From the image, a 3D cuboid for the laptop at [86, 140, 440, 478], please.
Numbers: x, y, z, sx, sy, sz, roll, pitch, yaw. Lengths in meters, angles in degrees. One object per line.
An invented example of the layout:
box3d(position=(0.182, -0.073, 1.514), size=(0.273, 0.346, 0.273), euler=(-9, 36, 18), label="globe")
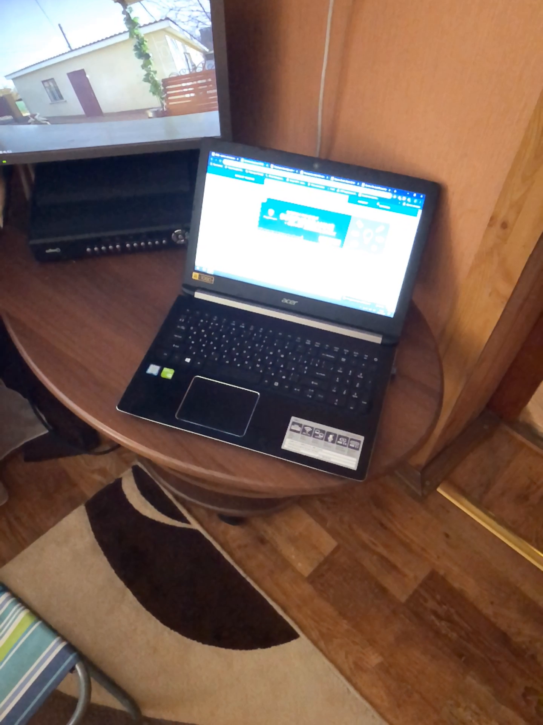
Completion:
box3d(position=(0.012, -0.096, 0.877), size=(0.372, 0.186, 0.392), euler=(15, 55, 9), label="laptop")
